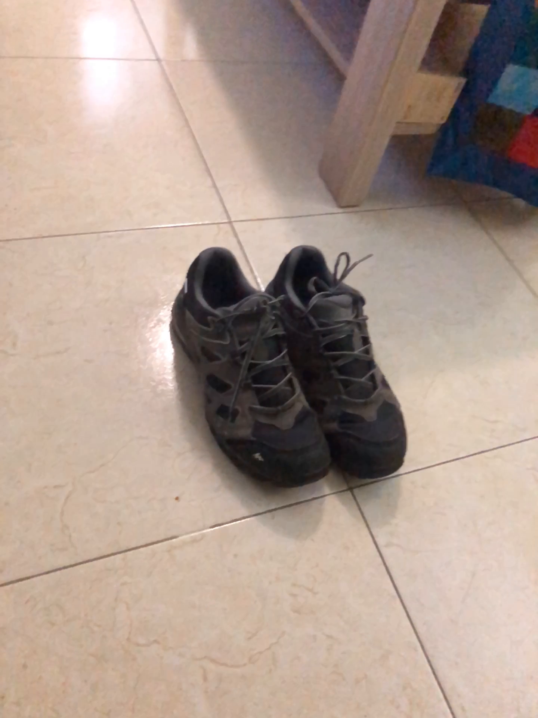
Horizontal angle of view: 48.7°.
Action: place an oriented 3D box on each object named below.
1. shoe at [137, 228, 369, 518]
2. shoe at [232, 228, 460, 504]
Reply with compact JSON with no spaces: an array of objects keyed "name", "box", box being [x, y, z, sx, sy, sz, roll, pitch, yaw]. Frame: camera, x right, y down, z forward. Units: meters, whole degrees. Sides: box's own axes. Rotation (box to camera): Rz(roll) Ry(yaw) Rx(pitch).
[{"name":"shoe","box":[-0.036,0.003,0.690,0.120,0.110,0.310,-19,60,-26]},{"name":"shoe","box":[0.075,-0.005,0.718,0.120,0.110,0.311,-13,58,-23]}]
